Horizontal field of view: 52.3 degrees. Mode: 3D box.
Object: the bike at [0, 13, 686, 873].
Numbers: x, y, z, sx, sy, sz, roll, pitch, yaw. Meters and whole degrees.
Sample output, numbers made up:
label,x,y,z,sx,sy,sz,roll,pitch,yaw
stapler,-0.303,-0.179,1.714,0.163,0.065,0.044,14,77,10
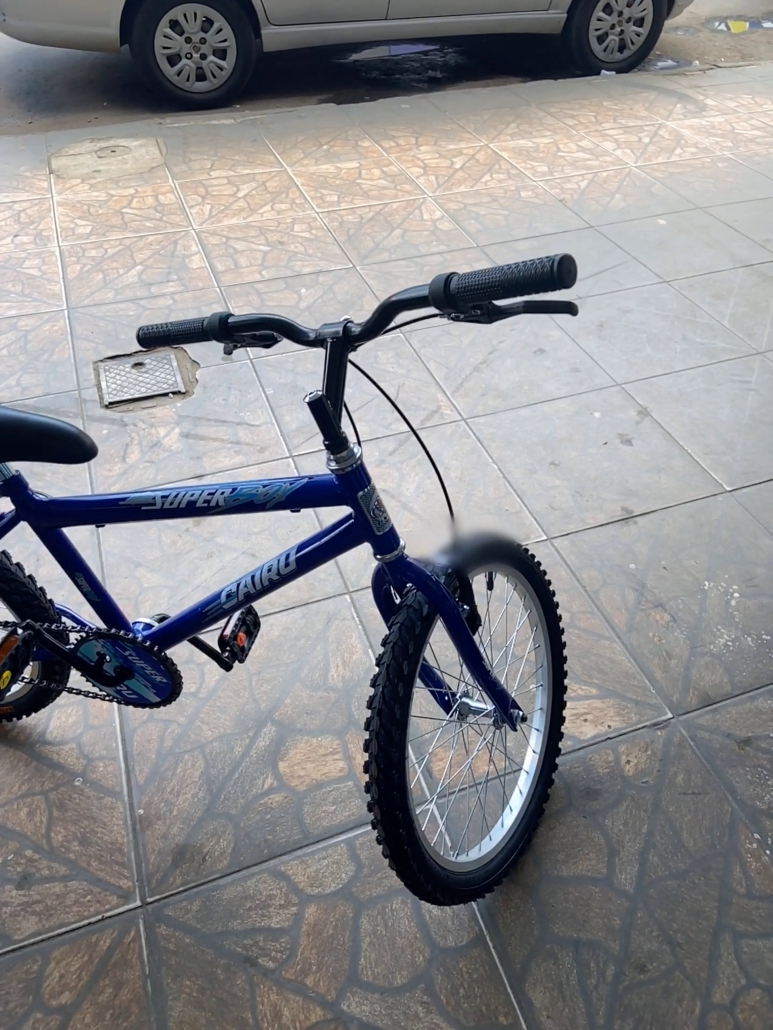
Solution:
label,x,y,z,sx,sy,sz,roll,pitch,yaw
bike,-0.395,-0.007,1.026,1.181,0.950,0.546,1,46,3
